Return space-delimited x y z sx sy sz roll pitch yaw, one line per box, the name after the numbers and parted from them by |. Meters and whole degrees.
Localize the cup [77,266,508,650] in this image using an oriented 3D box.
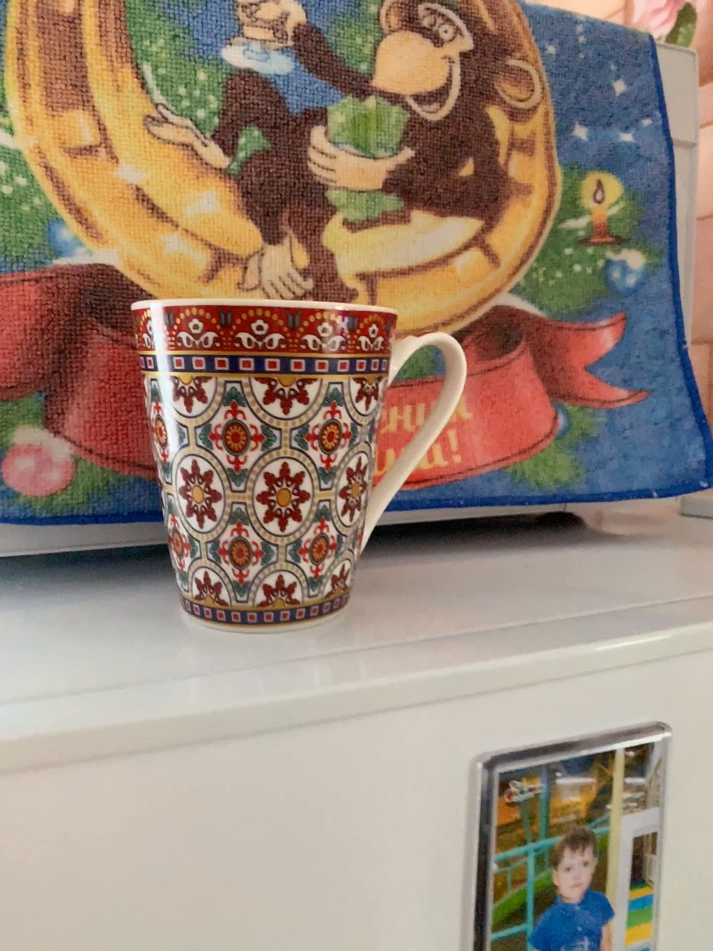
-0.025 -0.012 0.265 0.125 0.101 0.089 -4 8 -29 | cup
